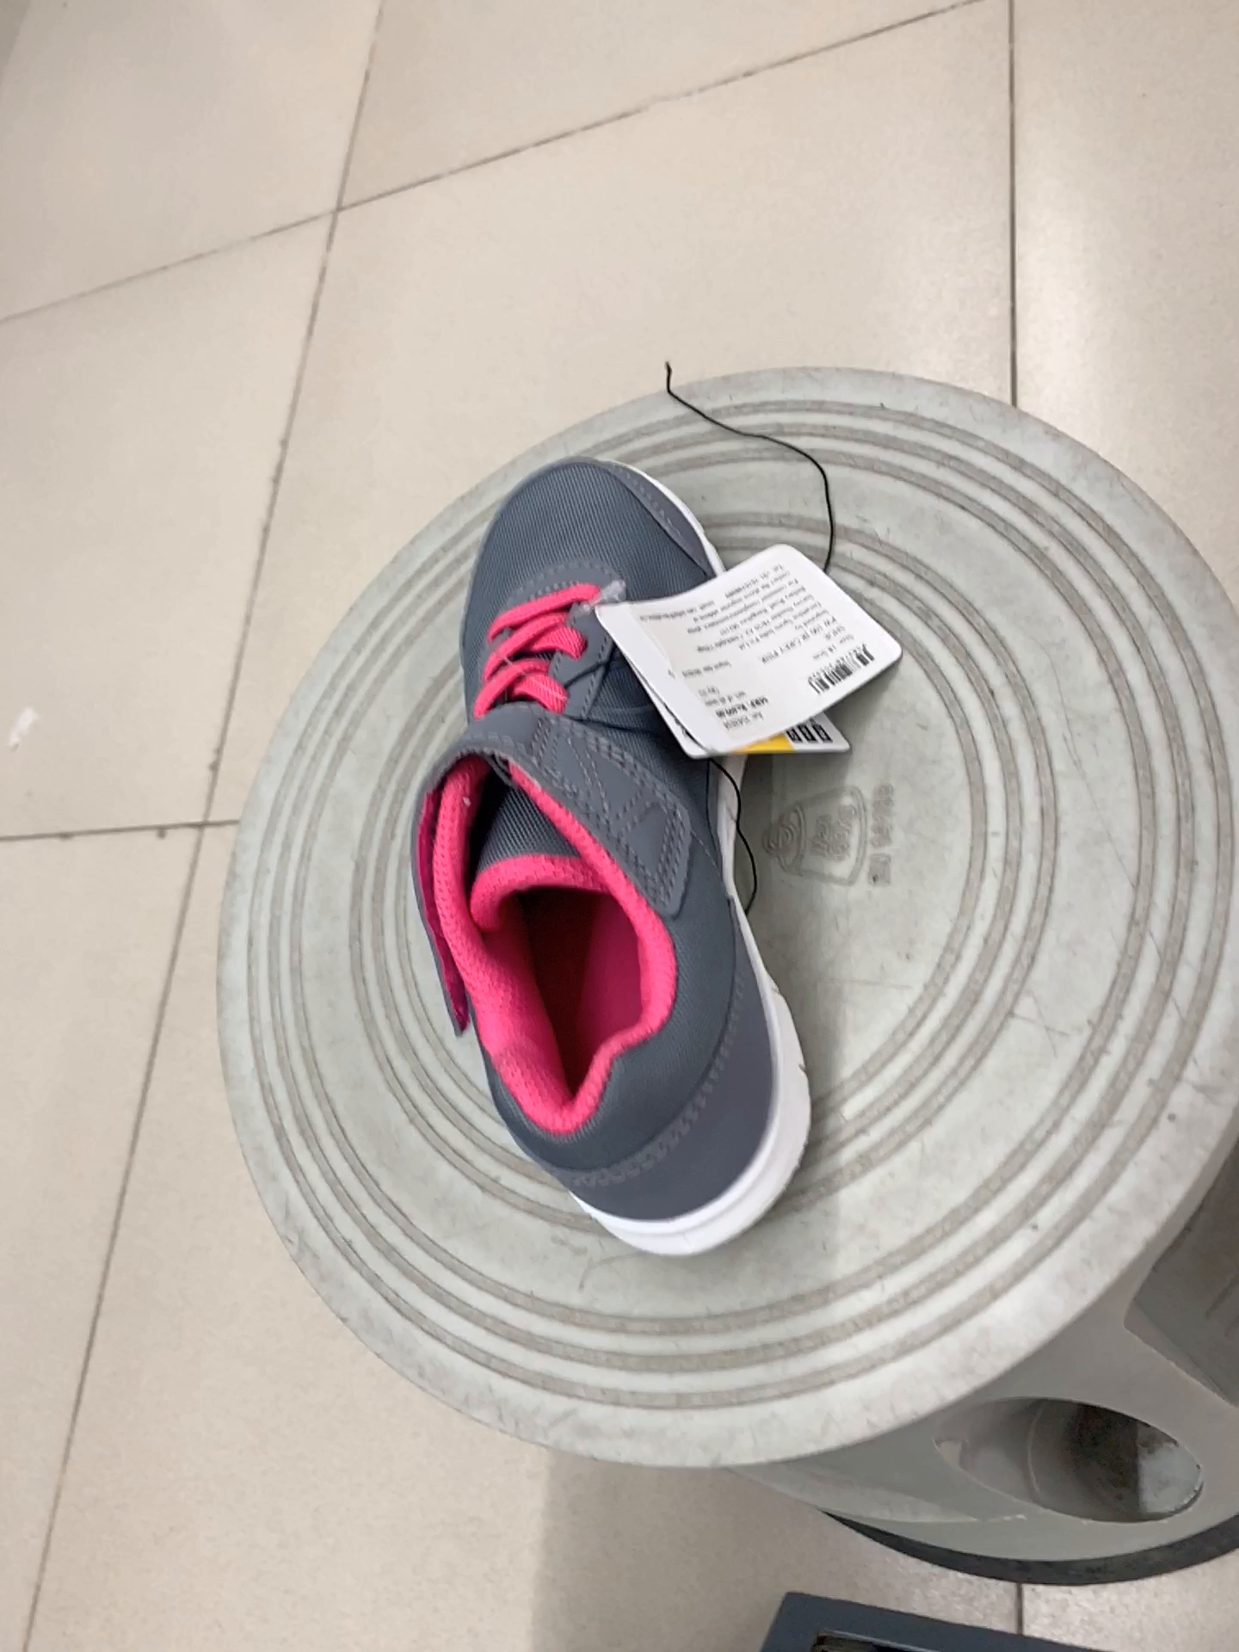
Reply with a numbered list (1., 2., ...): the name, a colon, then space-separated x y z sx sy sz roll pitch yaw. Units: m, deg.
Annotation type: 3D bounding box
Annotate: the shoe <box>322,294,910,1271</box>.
1. shoe: -0.003 -0.004 0.266 0.070 0.090 0.170 -18 63 20
